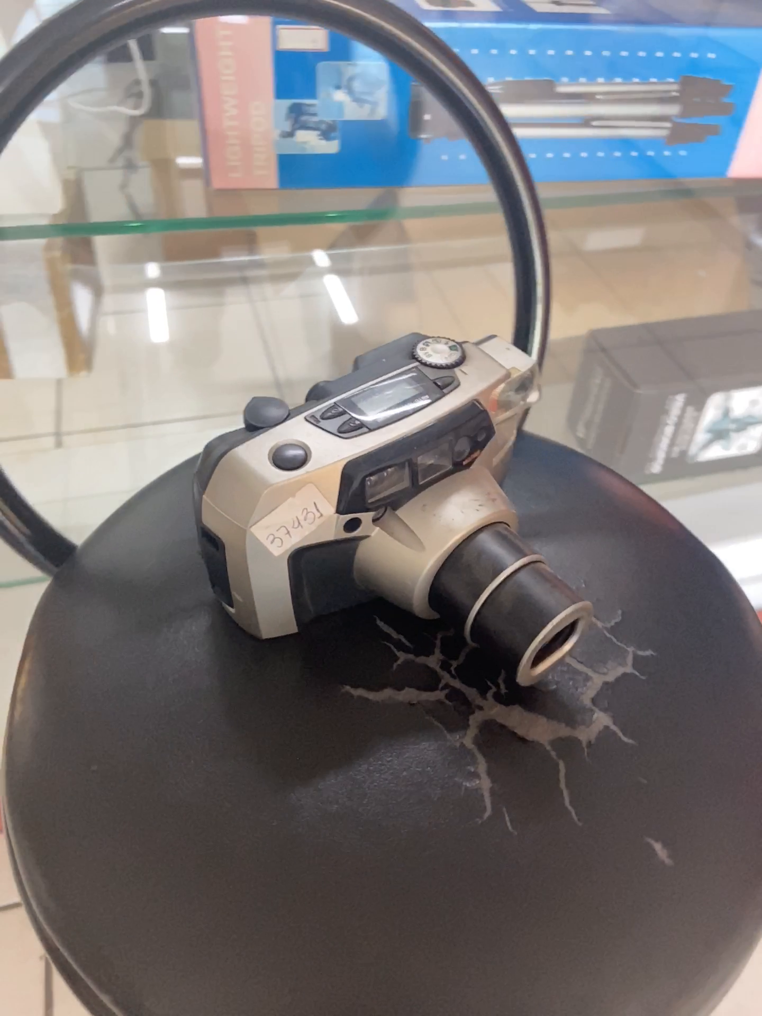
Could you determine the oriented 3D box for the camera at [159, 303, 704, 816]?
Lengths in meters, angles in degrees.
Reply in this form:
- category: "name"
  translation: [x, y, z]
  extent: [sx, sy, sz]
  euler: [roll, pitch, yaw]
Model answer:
- category: "camera"
  translation: [0.016, 0.006, 0.283]
  extent: [0.130, 0.080, 0.120]
  euler: [-31, 52, -31]
